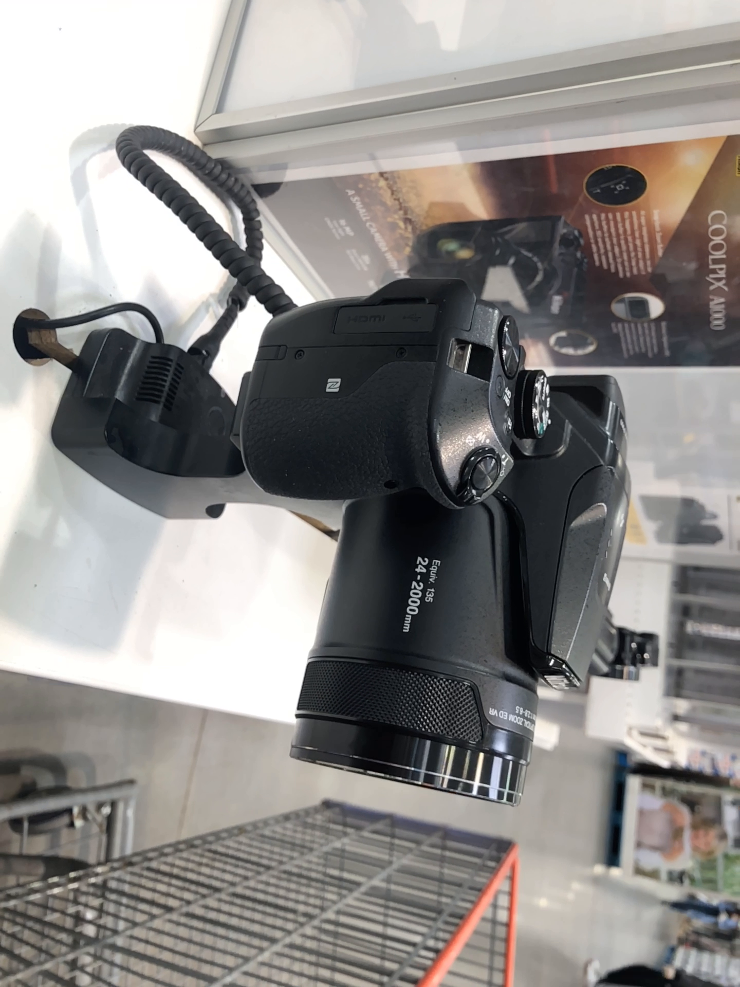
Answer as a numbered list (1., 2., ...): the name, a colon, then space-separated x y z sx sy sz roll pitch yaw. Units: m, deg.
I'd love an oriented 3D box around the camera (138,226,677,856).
1. camera: 0.033 0.025 0.269 0.141 0.109 0.150 46 51 -58
